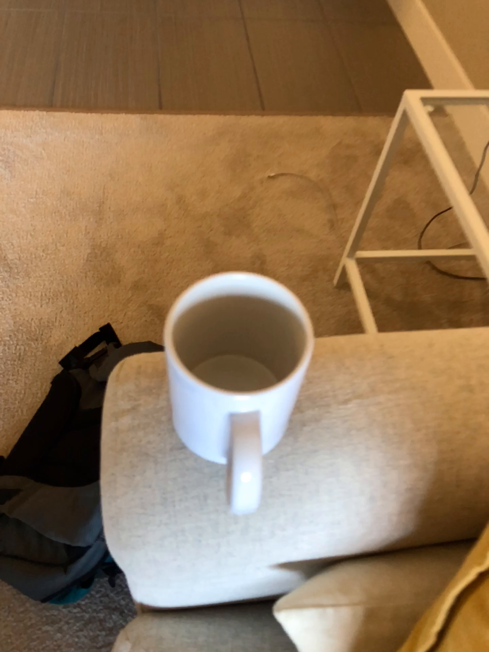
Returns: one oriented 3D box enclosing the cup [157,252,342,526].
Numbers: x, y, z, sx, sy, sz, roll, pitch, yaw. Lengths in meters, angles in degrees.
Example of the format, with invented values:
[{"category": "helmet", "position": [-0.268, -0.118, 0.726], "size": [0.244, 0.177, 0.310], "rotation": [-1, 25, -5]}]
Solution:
[{"category": "cup", "position": [-0.004, 0.038, 0.307], "size": [0.080, 0.100, 0.120], "rotation": [1, 55, -6]}]
